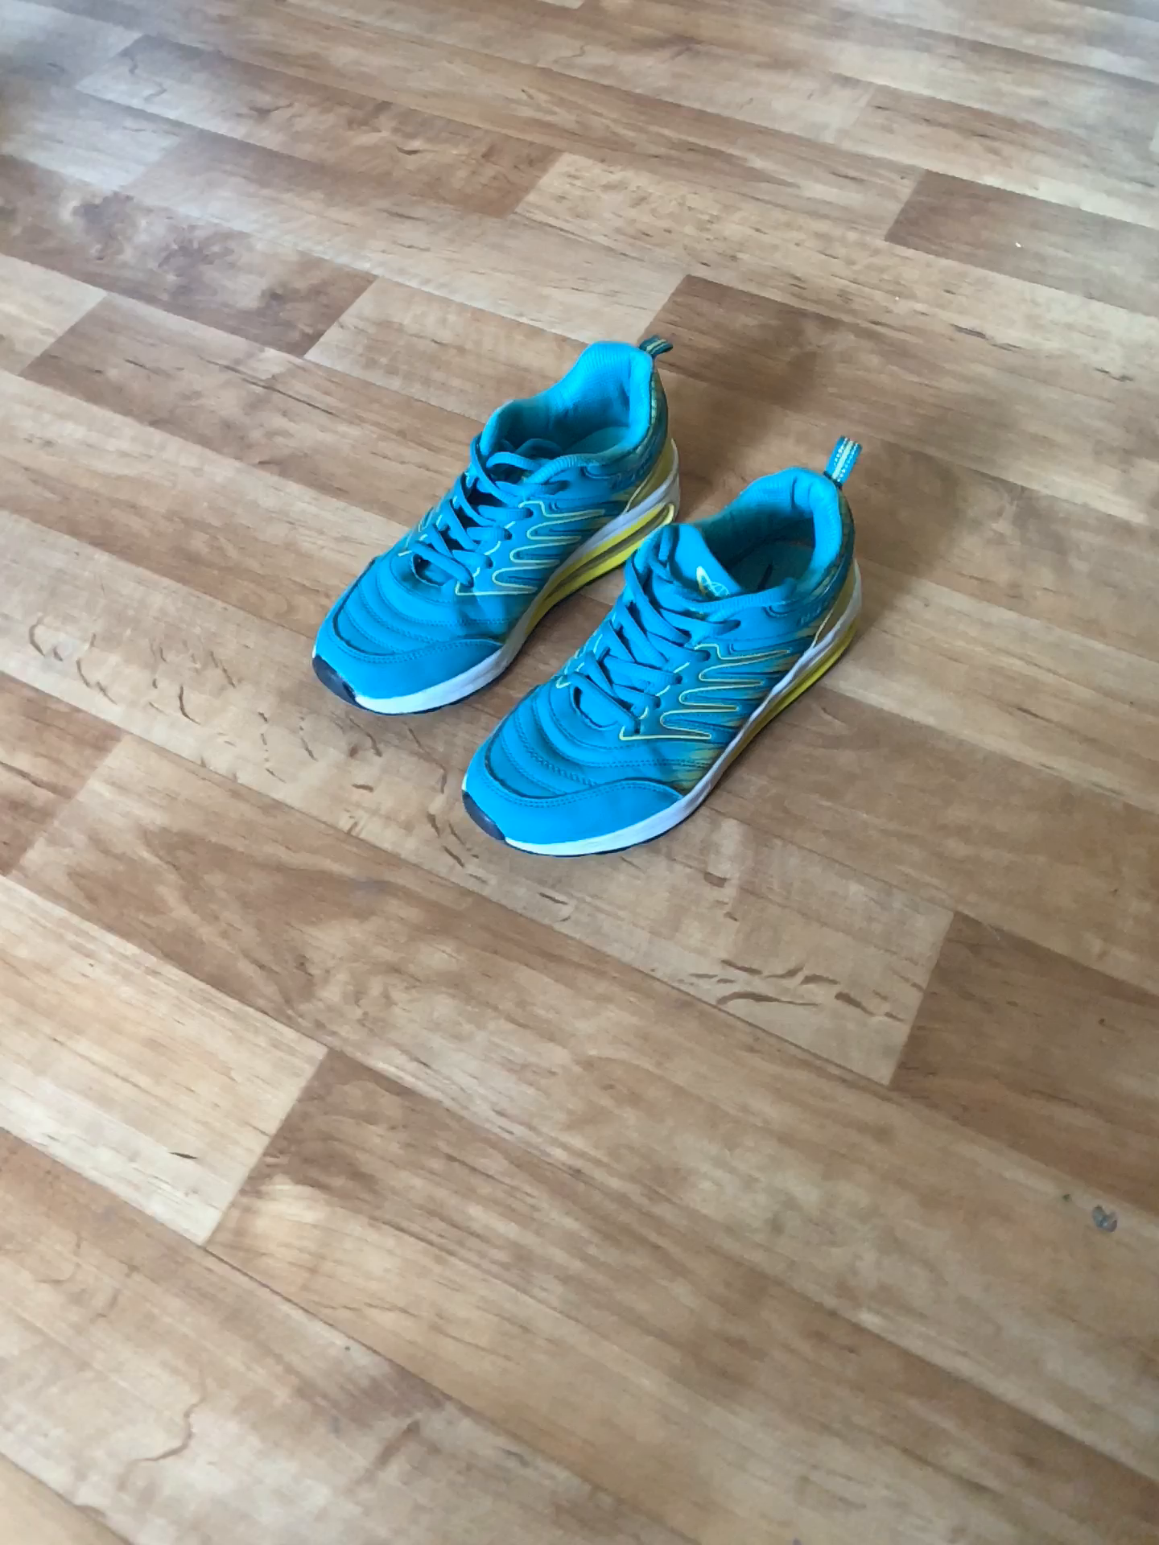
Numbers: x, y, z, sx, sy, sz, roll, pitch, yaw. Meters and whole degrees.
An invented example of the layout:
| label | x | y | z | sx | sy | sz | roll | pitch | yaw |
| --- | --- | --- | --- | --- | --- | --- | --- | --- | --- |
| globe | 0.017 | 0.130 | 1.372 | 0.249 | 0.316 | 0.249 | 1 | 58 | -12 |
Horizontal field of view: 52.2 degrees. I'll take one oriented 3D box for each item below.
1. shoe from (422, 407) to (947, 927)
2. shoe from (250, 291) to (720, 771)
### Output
| label | x | y | z | sx | sy | sz | roll | pitch | yaw |
| --- | --- | --- | --- | --- | --- | --- | --- | --- | --- |
| shoe | 0.053 | -0.055 | 0.596 | 0.240 | 0.120 | 0.100 | -38 | 67 | -19 |
| shoe | -0.044 | -0.132 | 0.642 | 0.100 | 0.120 | 0.230 | 40 | 67 | 18 |
